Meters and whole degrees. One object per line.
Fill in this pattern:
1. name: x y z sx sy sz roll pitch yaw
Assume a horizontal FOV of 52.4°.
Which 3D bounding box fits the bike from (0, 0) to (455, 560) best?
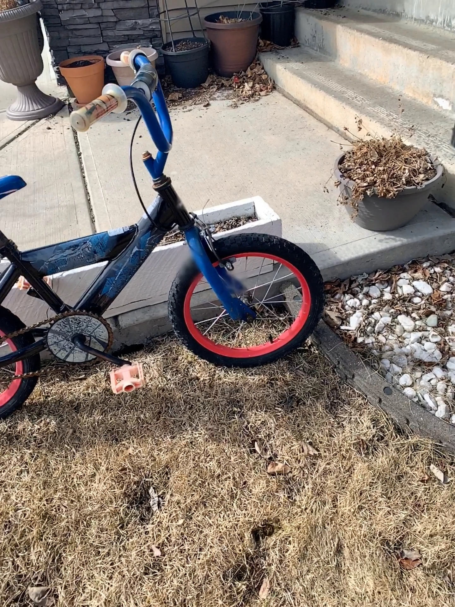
1. bike: -0.277 -0.070 0.851 1.023 0.728 0.538 -12 41 -3
